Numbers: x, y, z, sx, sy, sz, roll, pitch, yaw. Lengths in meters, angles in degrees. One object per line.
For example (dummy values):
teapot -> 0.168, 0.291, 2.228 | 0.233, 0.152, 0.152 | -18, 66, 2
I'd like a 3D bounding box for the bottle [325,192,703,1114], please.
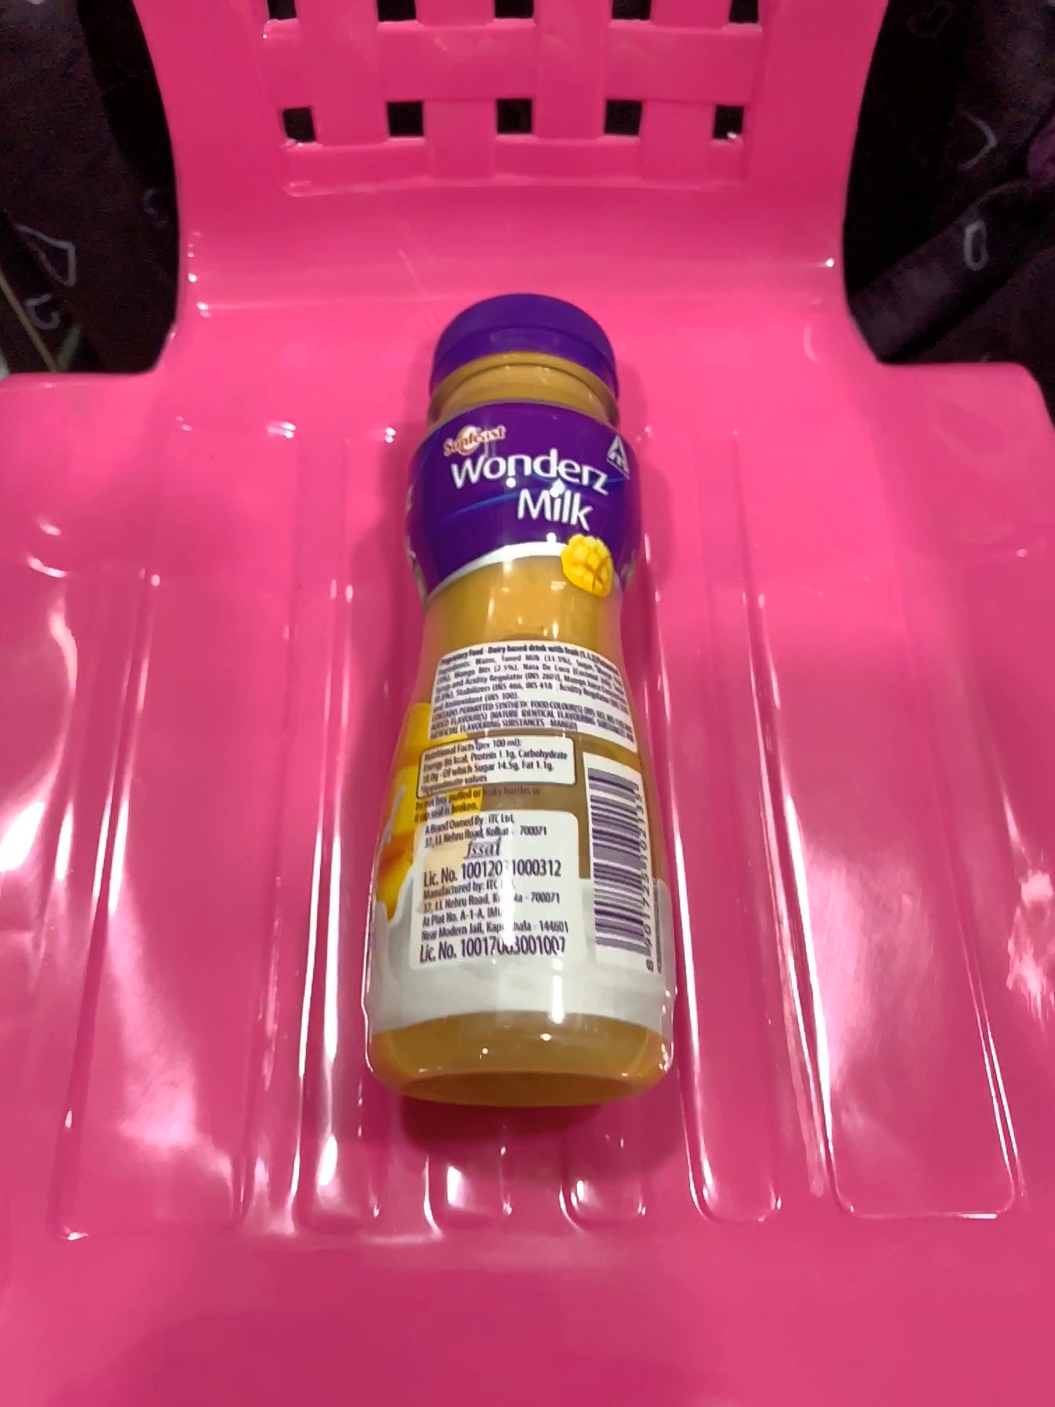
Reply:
bottle -> -0.003, -0.012, 0.200 | 0.050, 0.050, 0.160 | -1, 67, 0
